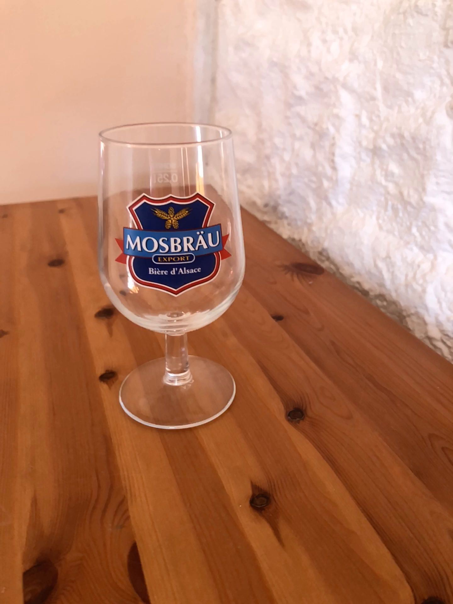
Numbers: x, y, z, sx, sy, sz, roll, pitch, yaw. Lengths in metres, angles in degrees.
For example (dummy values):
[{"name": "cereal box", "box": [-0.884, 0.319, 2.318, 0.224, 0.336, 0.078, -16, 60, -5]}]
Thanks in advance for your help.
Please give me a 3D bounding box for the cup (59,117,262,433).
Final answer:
[{"name": "cup", "box": [-0.031, -0.016, 0.263, 0.079, 0.142, 0.077, 2, 26, -1]}]
